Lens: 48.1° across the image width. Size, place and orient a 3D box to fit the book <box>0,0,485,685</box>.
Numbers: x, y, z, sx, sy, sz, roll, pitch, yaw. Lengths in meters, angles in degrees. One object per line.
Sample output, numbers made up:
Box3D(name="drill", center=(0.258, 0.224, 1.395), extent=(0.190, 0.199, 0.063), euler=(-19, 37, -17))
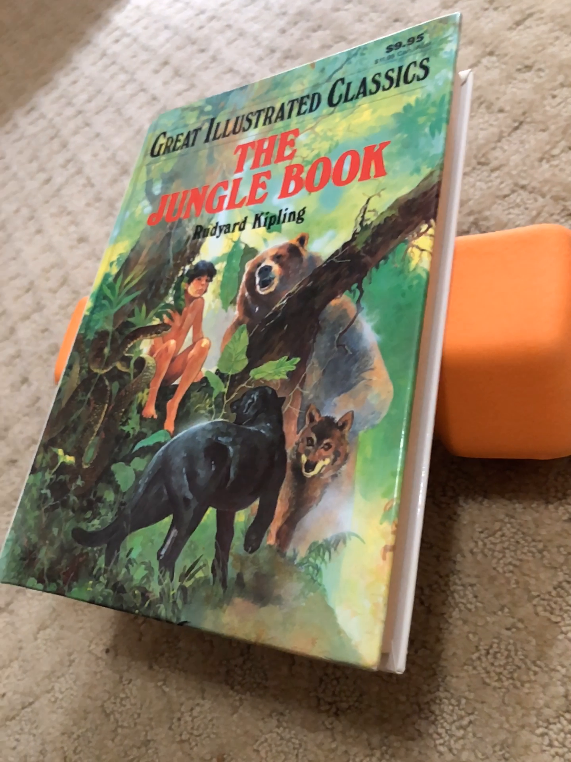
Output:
Box3D(name="book", center=(-0.014, -0.025, 0.220), extent=(0.140, 0.029, 0.208), euler=(-2, 66, 32))
